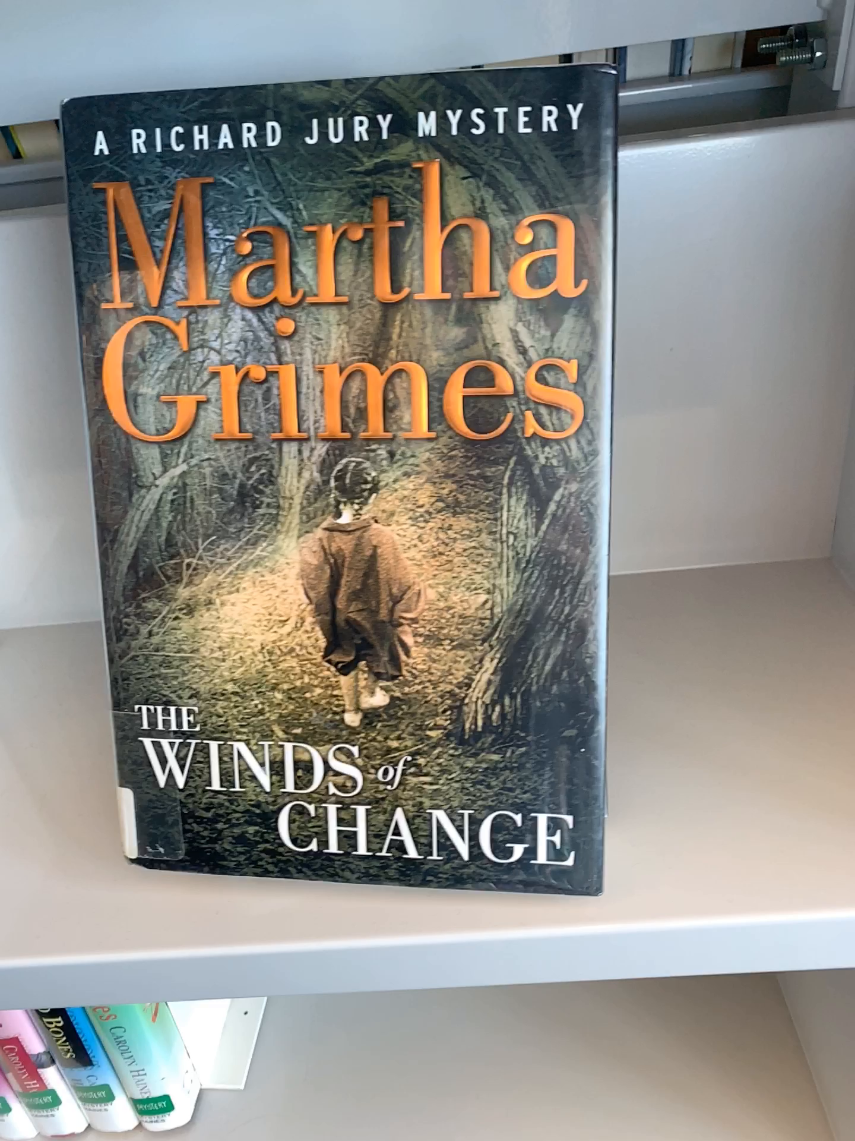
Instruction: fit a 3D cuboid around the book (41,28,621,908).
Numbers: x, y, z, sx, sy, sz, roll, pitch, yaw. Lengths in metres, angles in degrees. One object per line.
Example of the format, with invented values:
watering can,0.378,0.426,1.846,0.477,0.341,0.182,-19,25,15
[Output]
book,-0.022,-0.022,0.284,0.160,0.244,0.050,0,11,9
